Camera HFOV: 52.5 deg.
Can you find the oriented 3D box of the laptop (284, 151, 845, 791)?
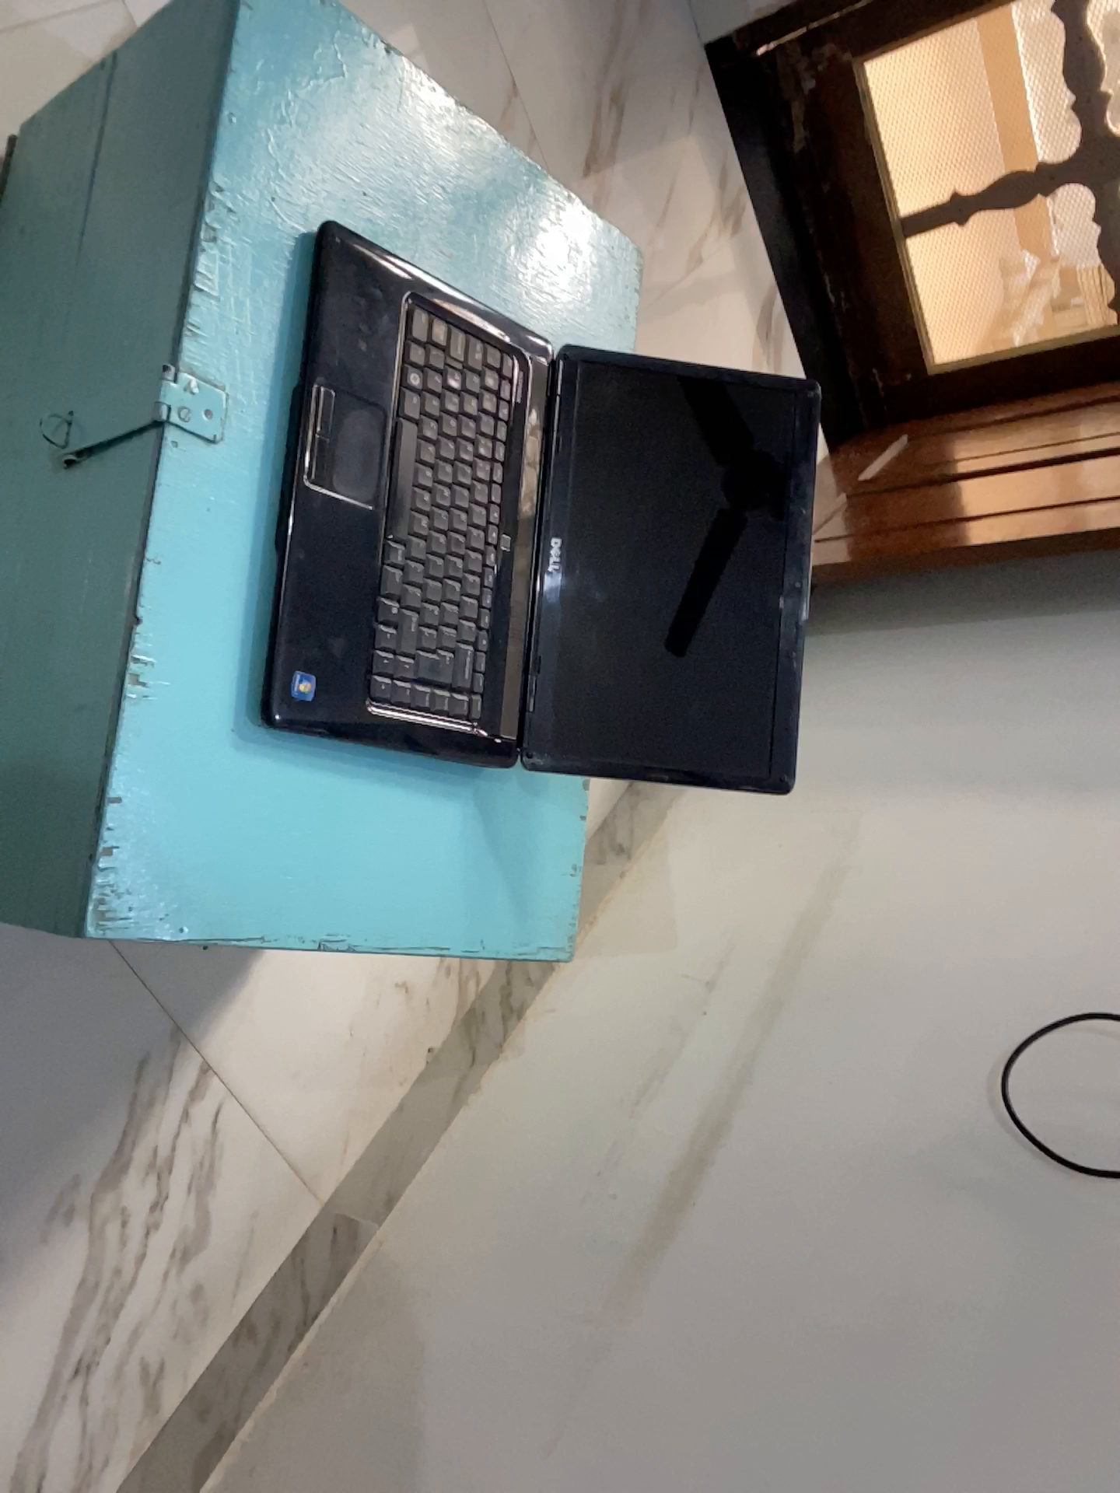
[{"bbox_3d":[0.032,-0.168,0.897,0.414,0.162,0.363,11,81,-46],"label":"laptop"}]
